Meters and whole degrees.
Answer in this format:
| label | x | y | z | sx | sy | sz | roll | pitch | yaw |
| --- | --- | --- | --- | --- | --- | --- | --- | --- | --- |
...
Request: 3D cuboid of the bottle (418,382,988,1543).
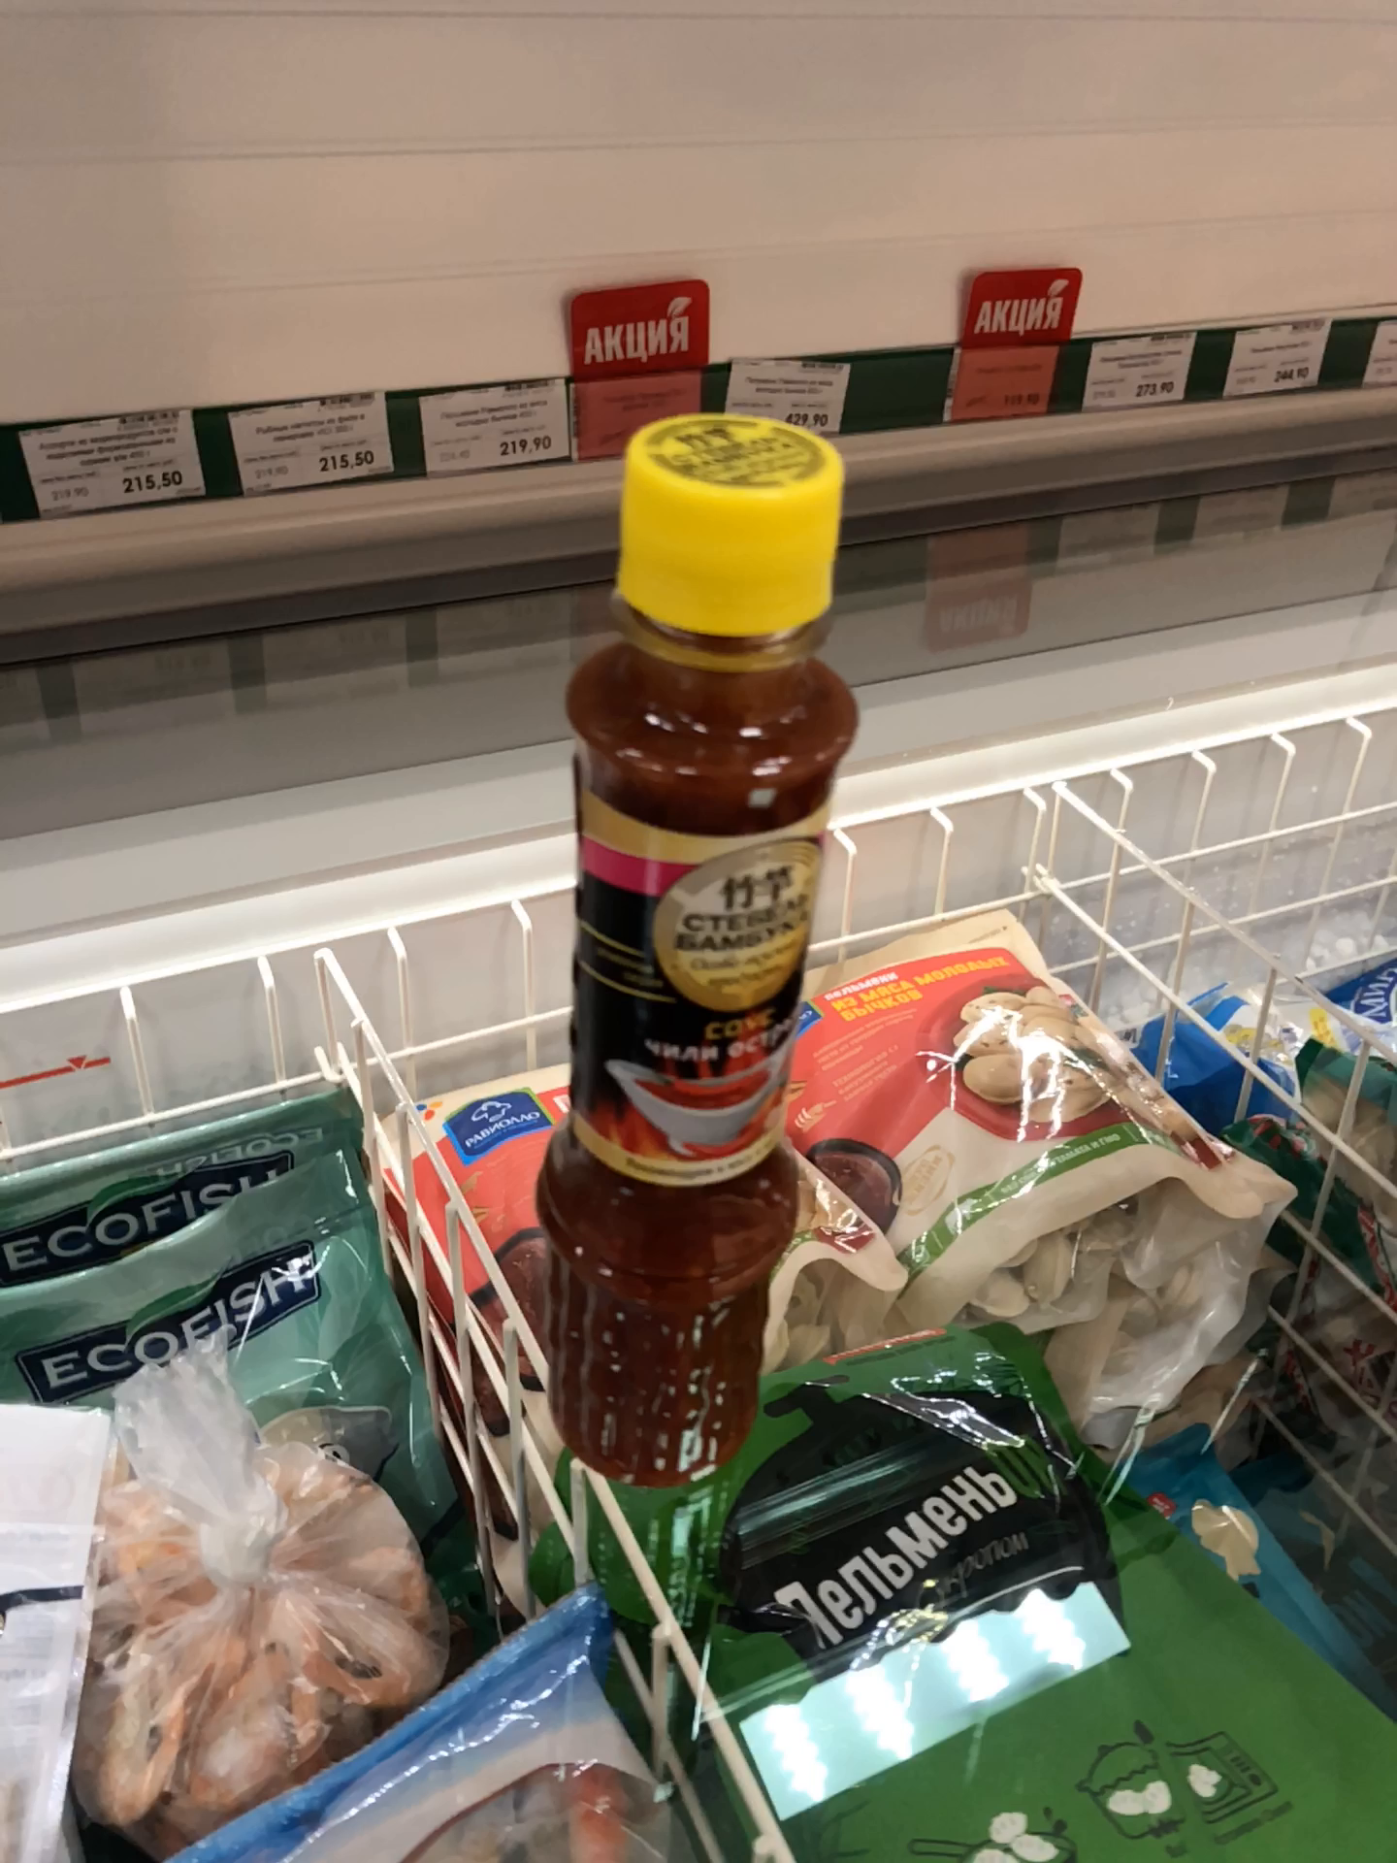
| label | x | y | z | sx | sy | sz | roll | pitch | yaw |
| --- | --- | --- | --- | --- | --- | --- | --- | --- | --- |
| bottle | -0.006 | 0.015 | 0.273 | 0.060 | 0.199 | 0.060 | 2 | 36 | -2 |
